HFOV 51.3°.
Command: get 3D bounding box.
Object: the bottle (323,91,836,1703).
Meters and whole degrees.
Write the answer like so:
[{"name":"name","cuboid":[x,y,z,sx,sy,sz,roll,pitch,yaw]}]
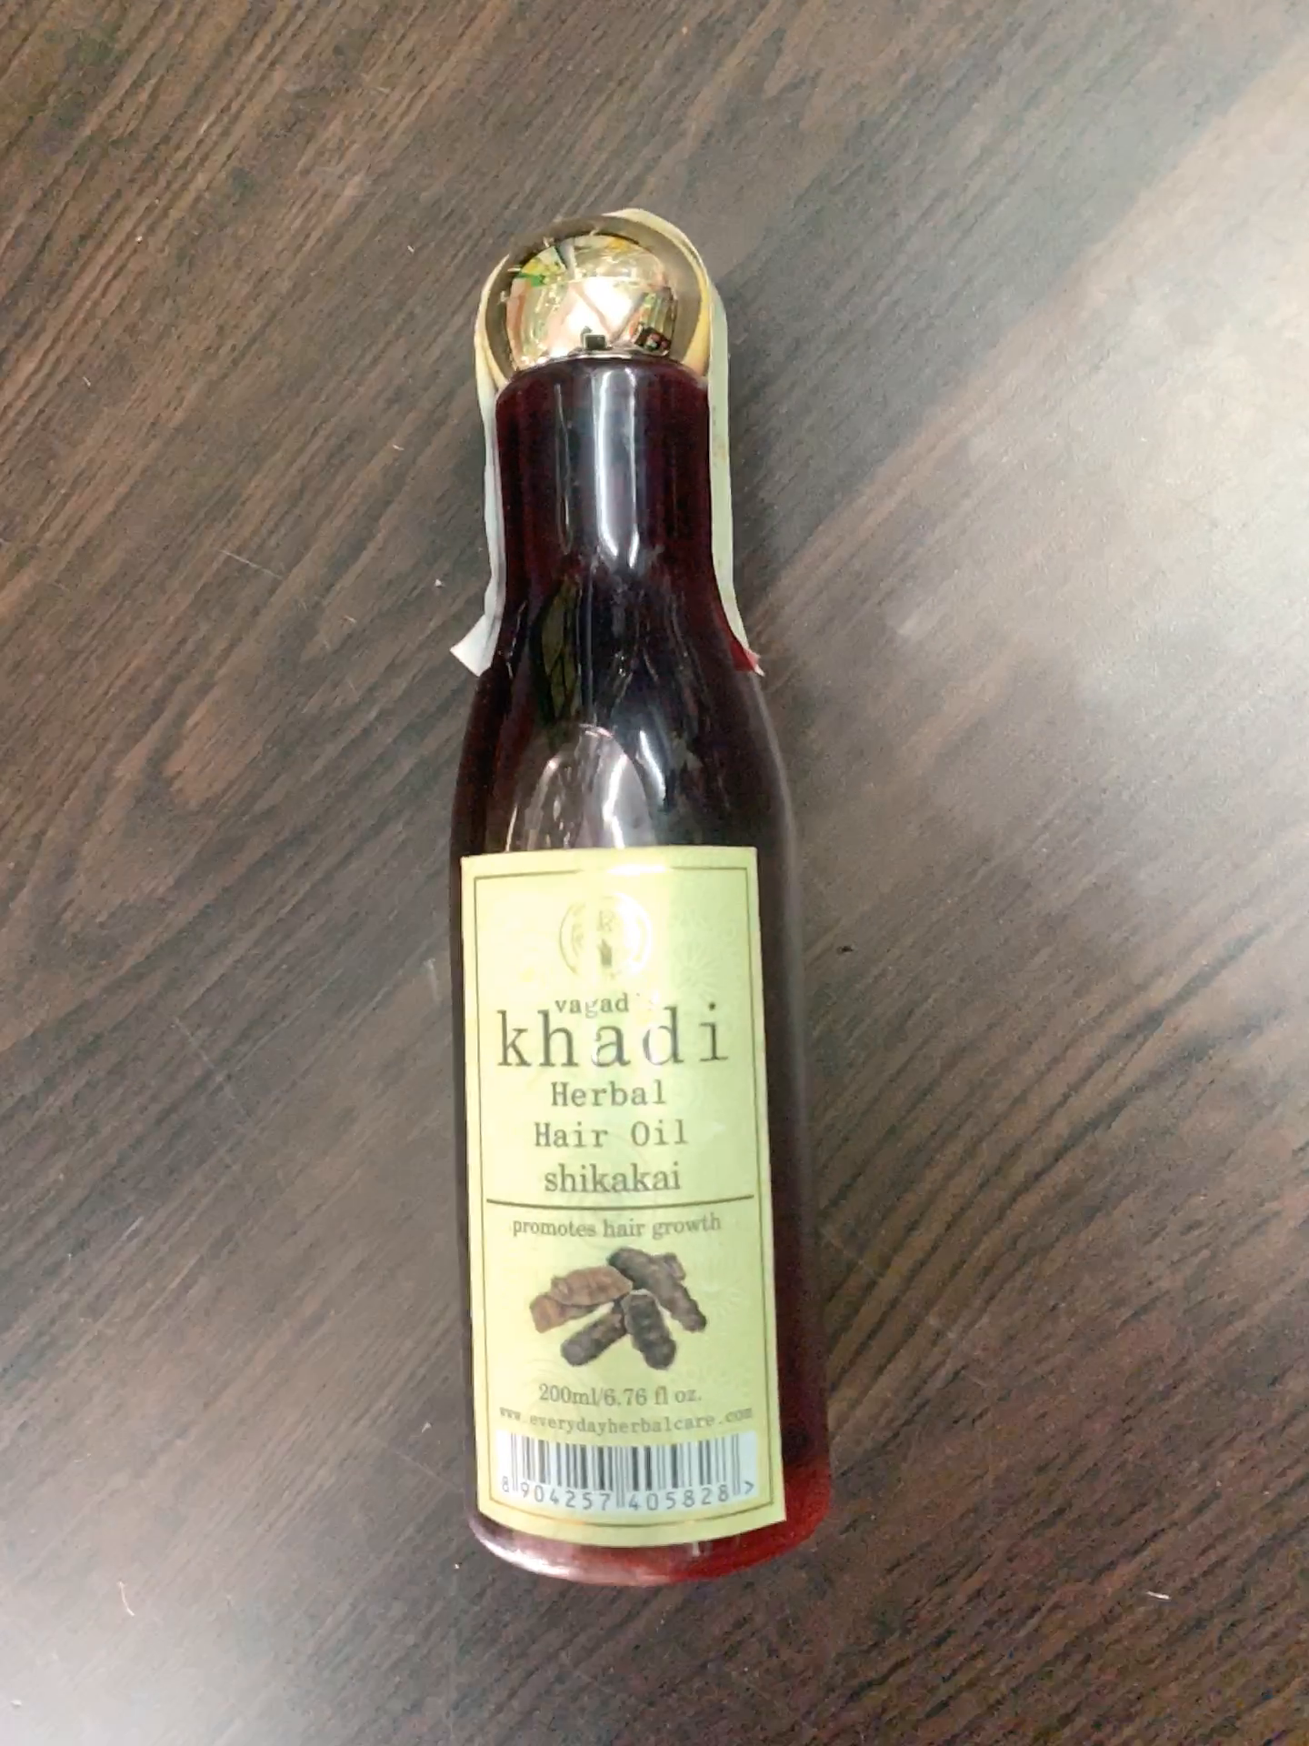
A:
[{"name":"bottle","cuboid":[-0.007,0.002,0.173,0.050,0.050,0.170,-2,86,12]}]
